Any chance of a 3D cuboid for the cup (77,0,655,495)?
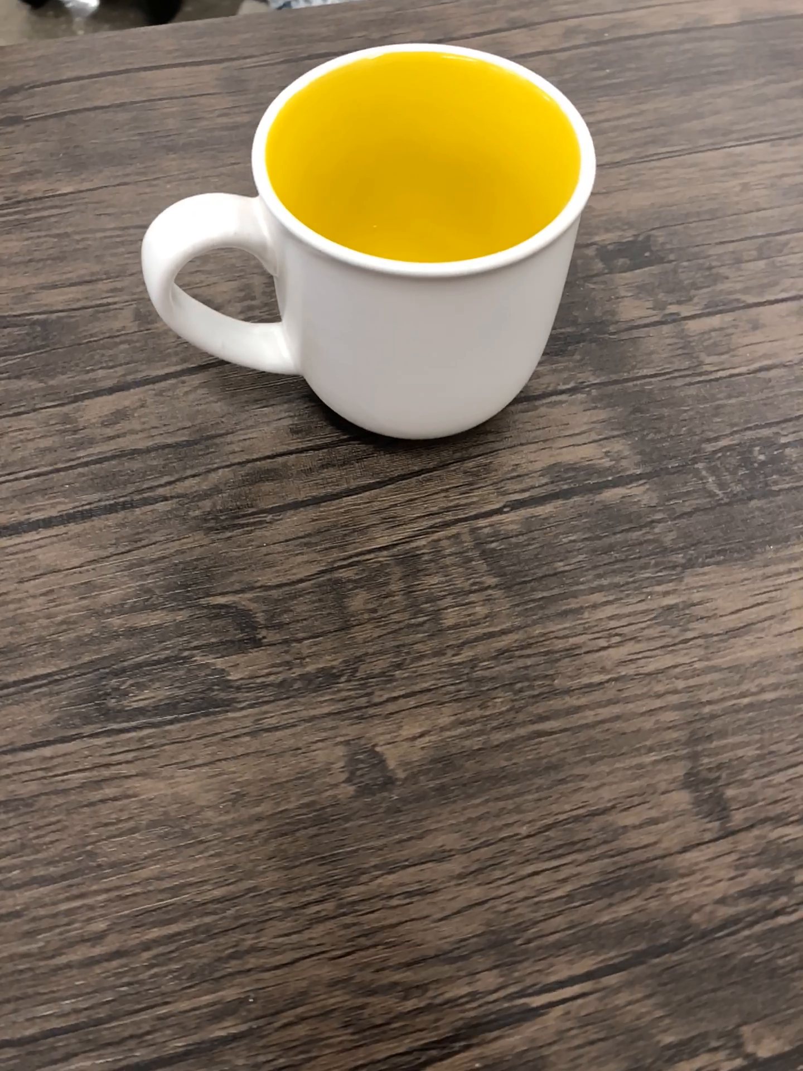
[{"bbox_3d":[-0.014,-0.082,0.264,0.130,0.100,0.080,-9,61,-7],"label":"cup"}]
